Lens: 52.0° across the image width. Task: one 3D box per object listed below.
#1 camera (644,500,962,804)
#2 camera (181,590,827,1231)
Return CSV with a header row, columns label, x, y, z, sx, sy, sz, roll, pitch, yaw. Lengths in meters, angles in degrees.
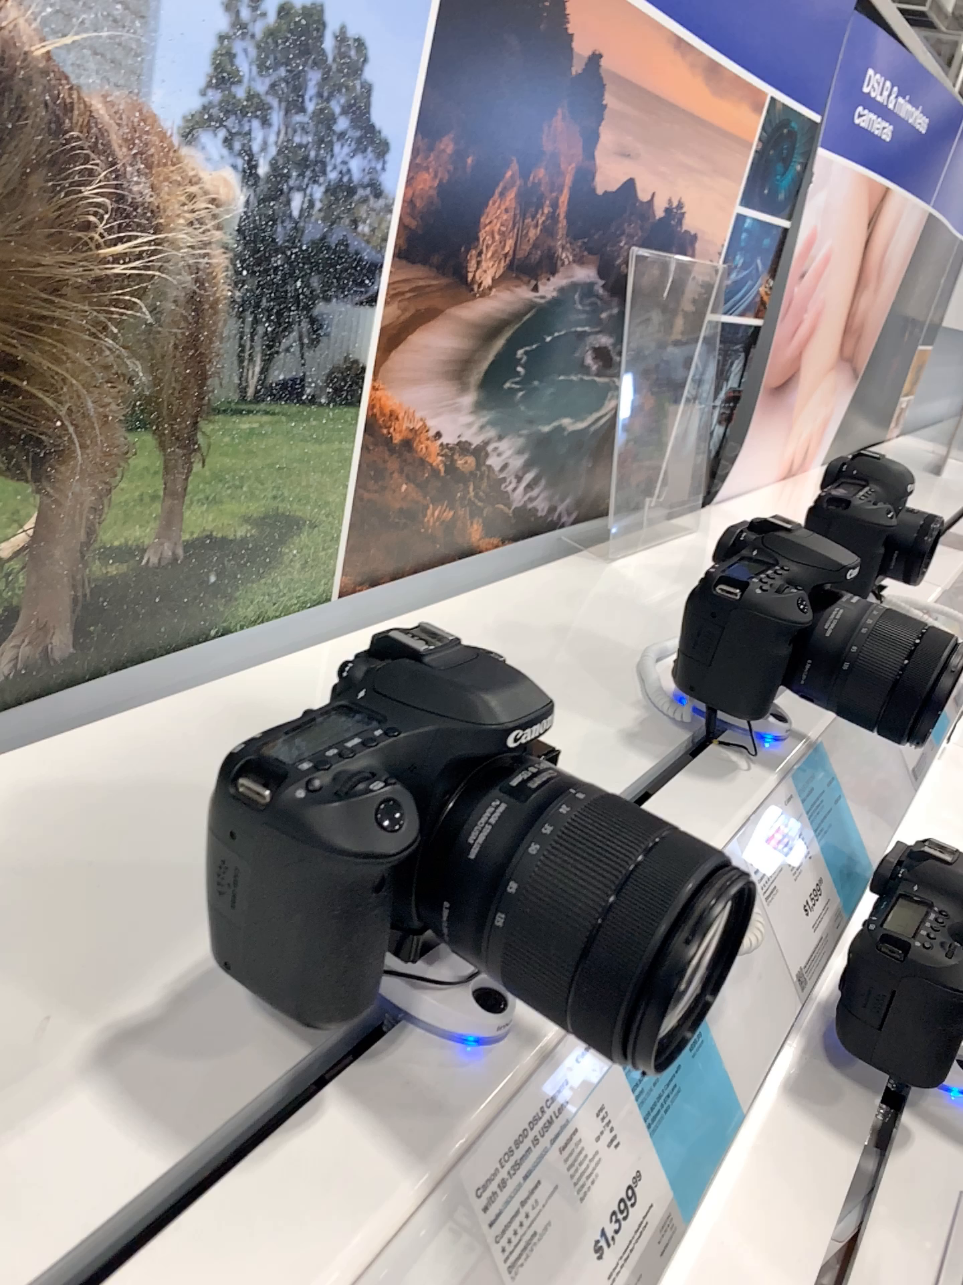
label,x,y,z,sx,sy,sz,roll,pitch,yaw
camera,0.213,-0.005,0.608,0.160,0.100,0.141,25,27,26
camera,0.008,0.071,0.346,0.160,0.100,0.141,25,27,26
